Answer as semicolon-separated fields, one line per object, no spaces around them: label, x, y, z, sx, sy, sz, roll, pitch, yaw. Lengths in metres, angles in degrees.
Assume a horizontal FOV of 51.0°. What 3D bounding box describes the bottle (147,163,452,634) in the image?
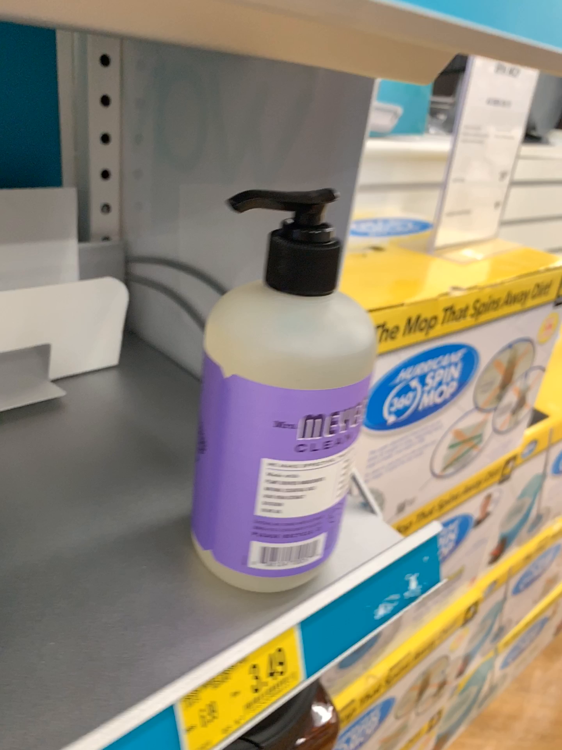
bottle;0.001;0.004;0.239;0.070;0.159;0.080;26;32;34
